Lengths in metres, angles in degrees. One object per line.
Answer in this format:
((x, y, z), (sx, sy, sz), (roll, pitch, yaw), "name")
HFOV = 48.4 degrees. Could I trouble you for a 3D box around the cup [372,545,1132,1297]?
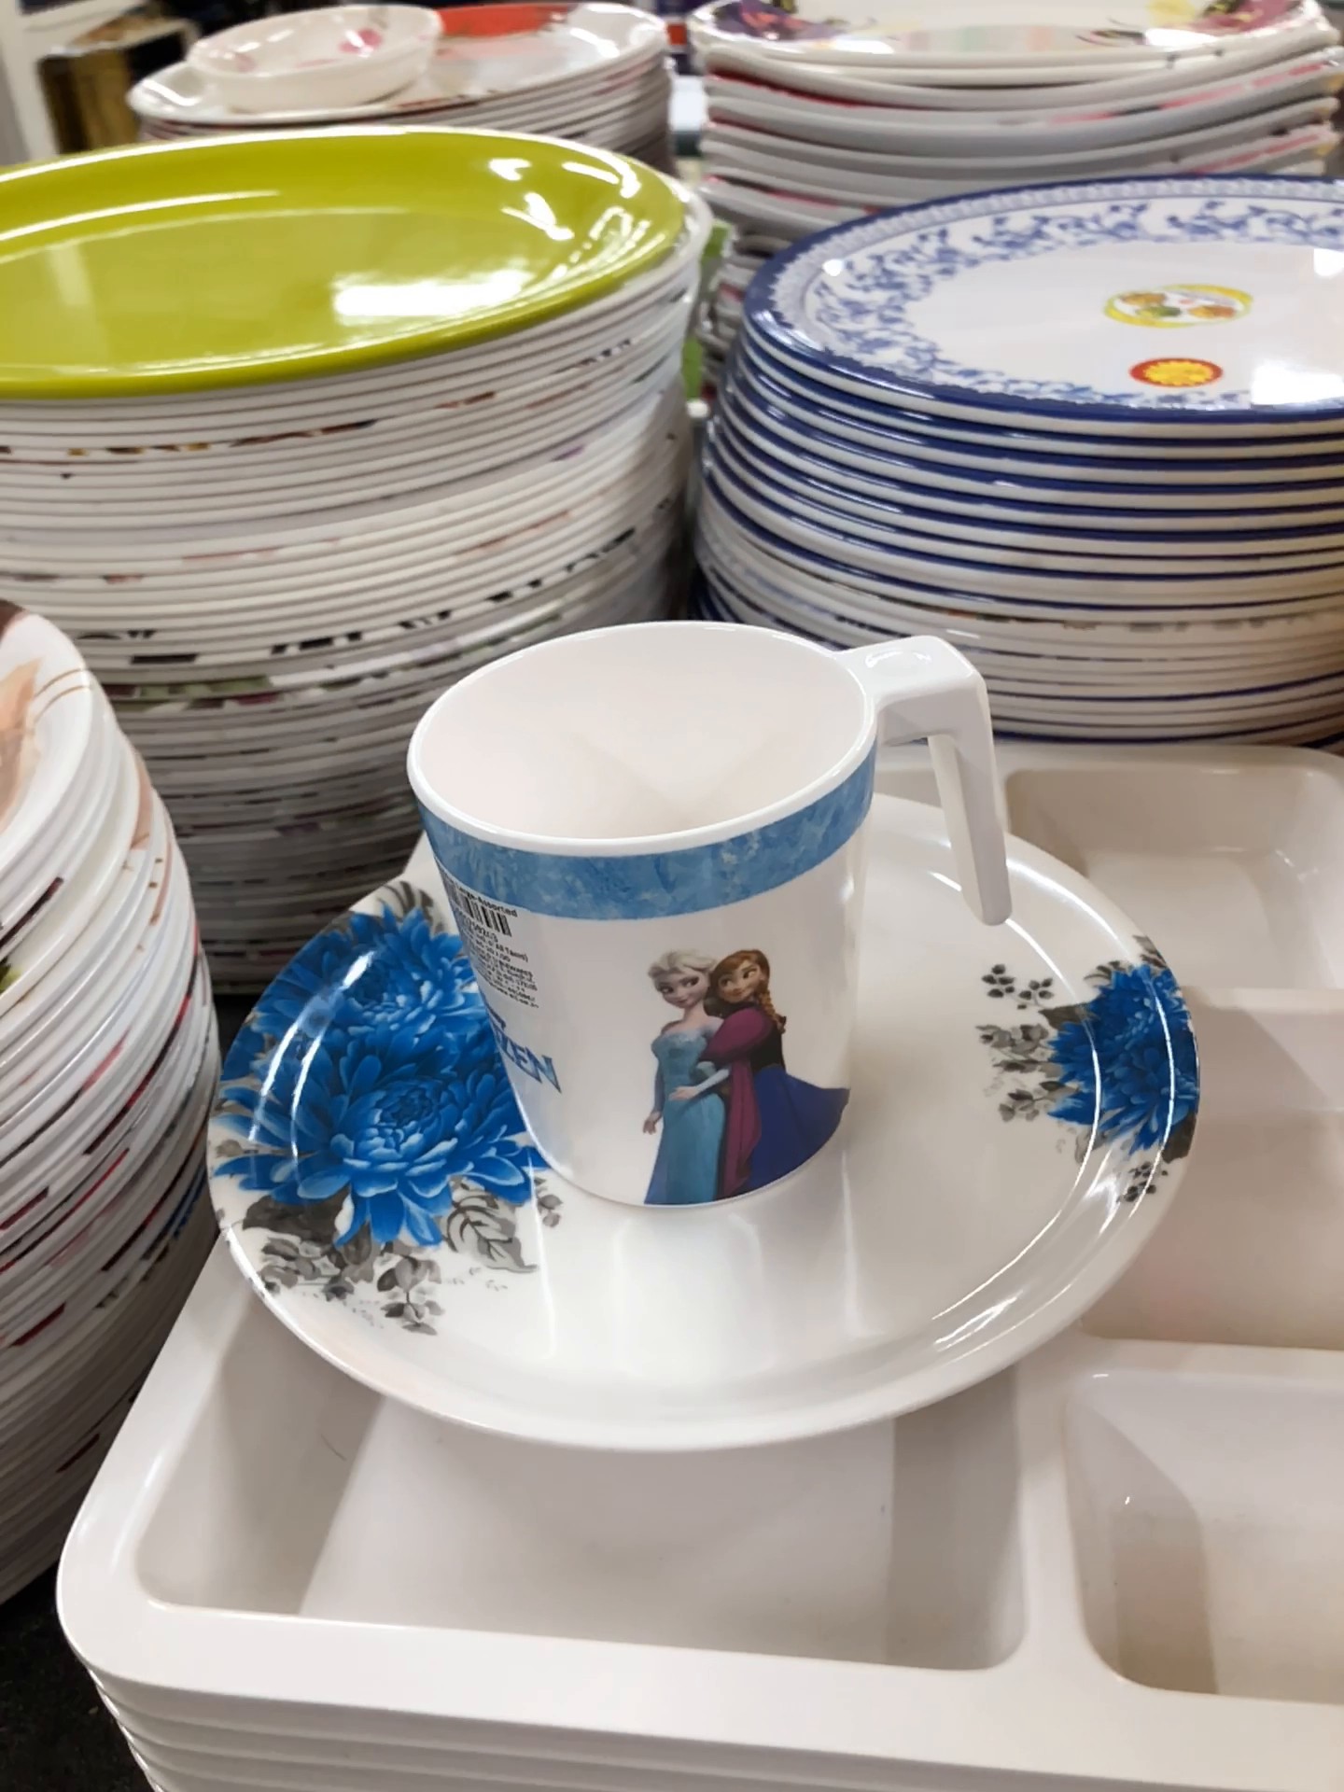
((0.010, 0.001, 0.274), (0.110, 0.089, 0.080), (-10, 36, -7), "cup")
